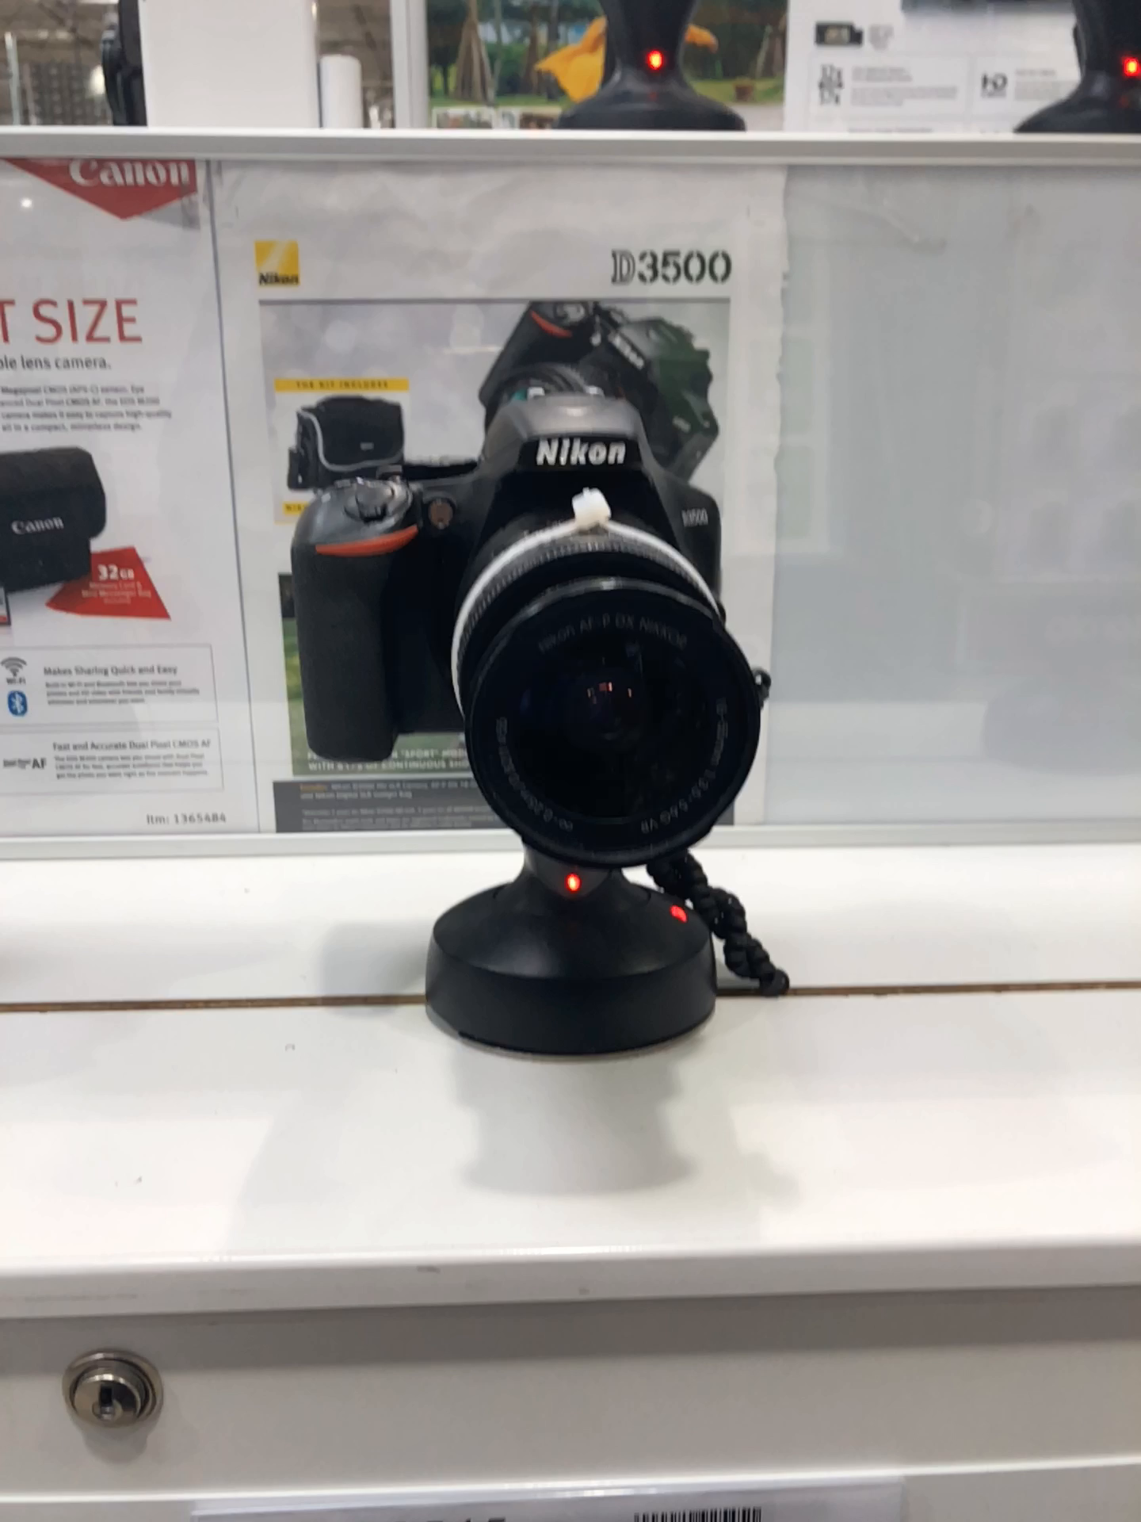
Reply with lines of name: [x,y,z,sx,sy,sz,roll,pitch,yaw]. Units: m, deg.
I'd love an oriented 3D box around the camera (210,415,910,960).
camera: [-0.010,-0.039,0.359,0.140,0.110,0.191,-2,16,-6]
